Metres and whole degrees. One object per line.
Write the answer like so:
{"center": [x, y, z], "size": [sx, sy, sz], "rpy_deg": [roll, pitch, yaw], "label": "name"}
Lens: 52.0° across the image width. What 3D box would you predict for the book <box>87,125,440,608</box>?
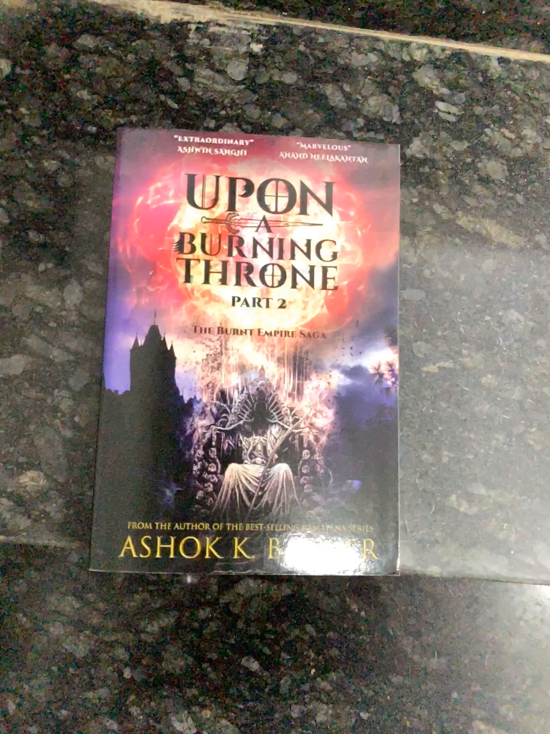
{"center": [-0.003, -0.002, 0.252], "size": [0.140, 0.030, 0.200], "rpy_deg": [1, 82, -4], "label": "book"}
